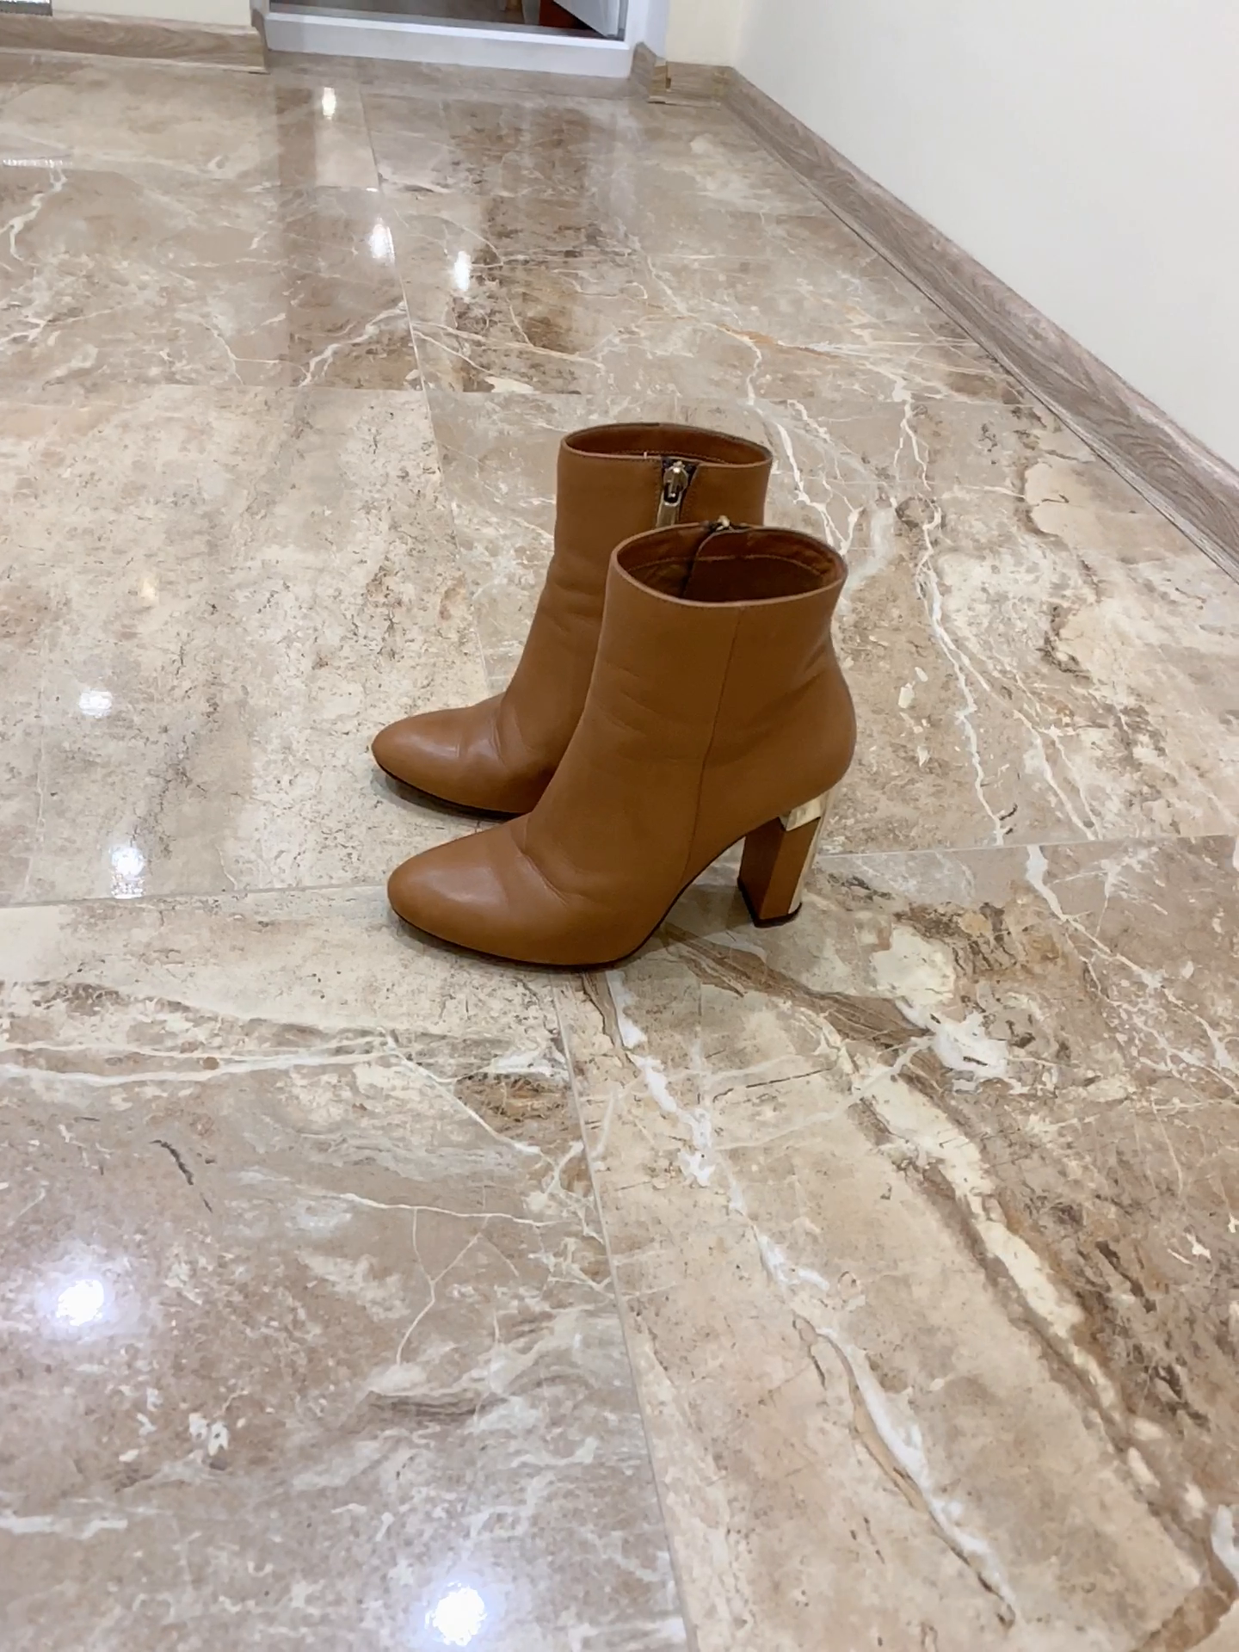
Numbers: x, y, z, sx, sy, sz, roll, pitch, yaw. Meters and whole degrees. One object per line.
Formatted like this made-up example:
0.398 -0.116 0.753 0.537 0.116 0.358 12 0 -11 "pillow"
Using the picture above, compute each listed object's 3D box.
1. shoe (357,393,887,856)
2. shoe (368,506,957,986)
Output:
-0.007 -0.092 0.617 0.220 0.184 0.091 4 40 -4 "shoe"
0.005 -0.034 0.537 0.210 0.175 0.091 -3 41 -13 "shoe"
